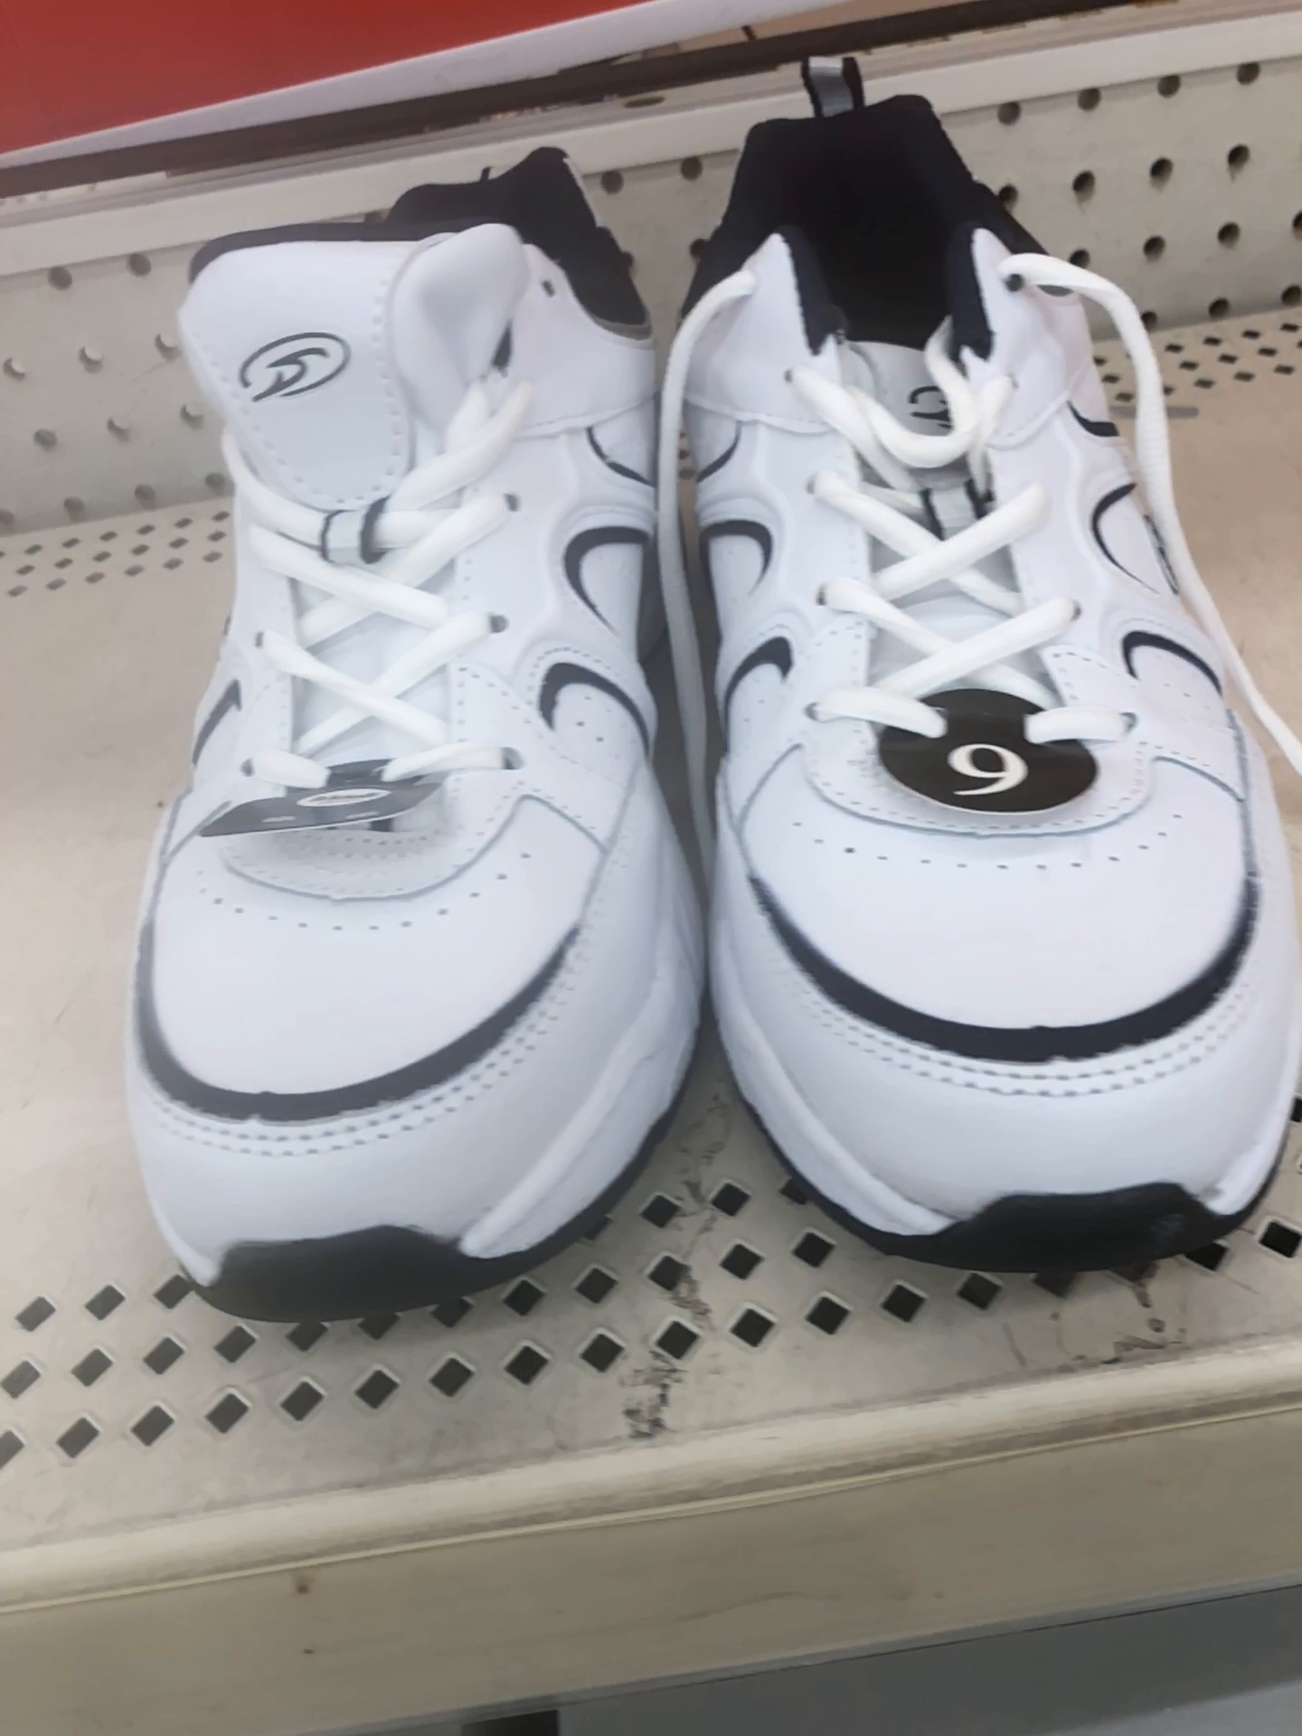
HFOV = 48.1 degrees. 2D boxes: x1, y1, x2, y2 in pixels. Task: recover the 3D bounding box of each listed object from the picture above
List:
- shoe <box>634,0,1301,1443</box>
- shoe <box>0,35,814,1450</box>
[{"bbox_3d":[0.063,-0.053,0.269,0.110,0.120,0.261,-6,43,3],"label":"shoe"},{"bbox_3d":[-0.034,-0.047,0.273,0.110,0.120,0.261,-4,44,6],"label":"shoe"}]
